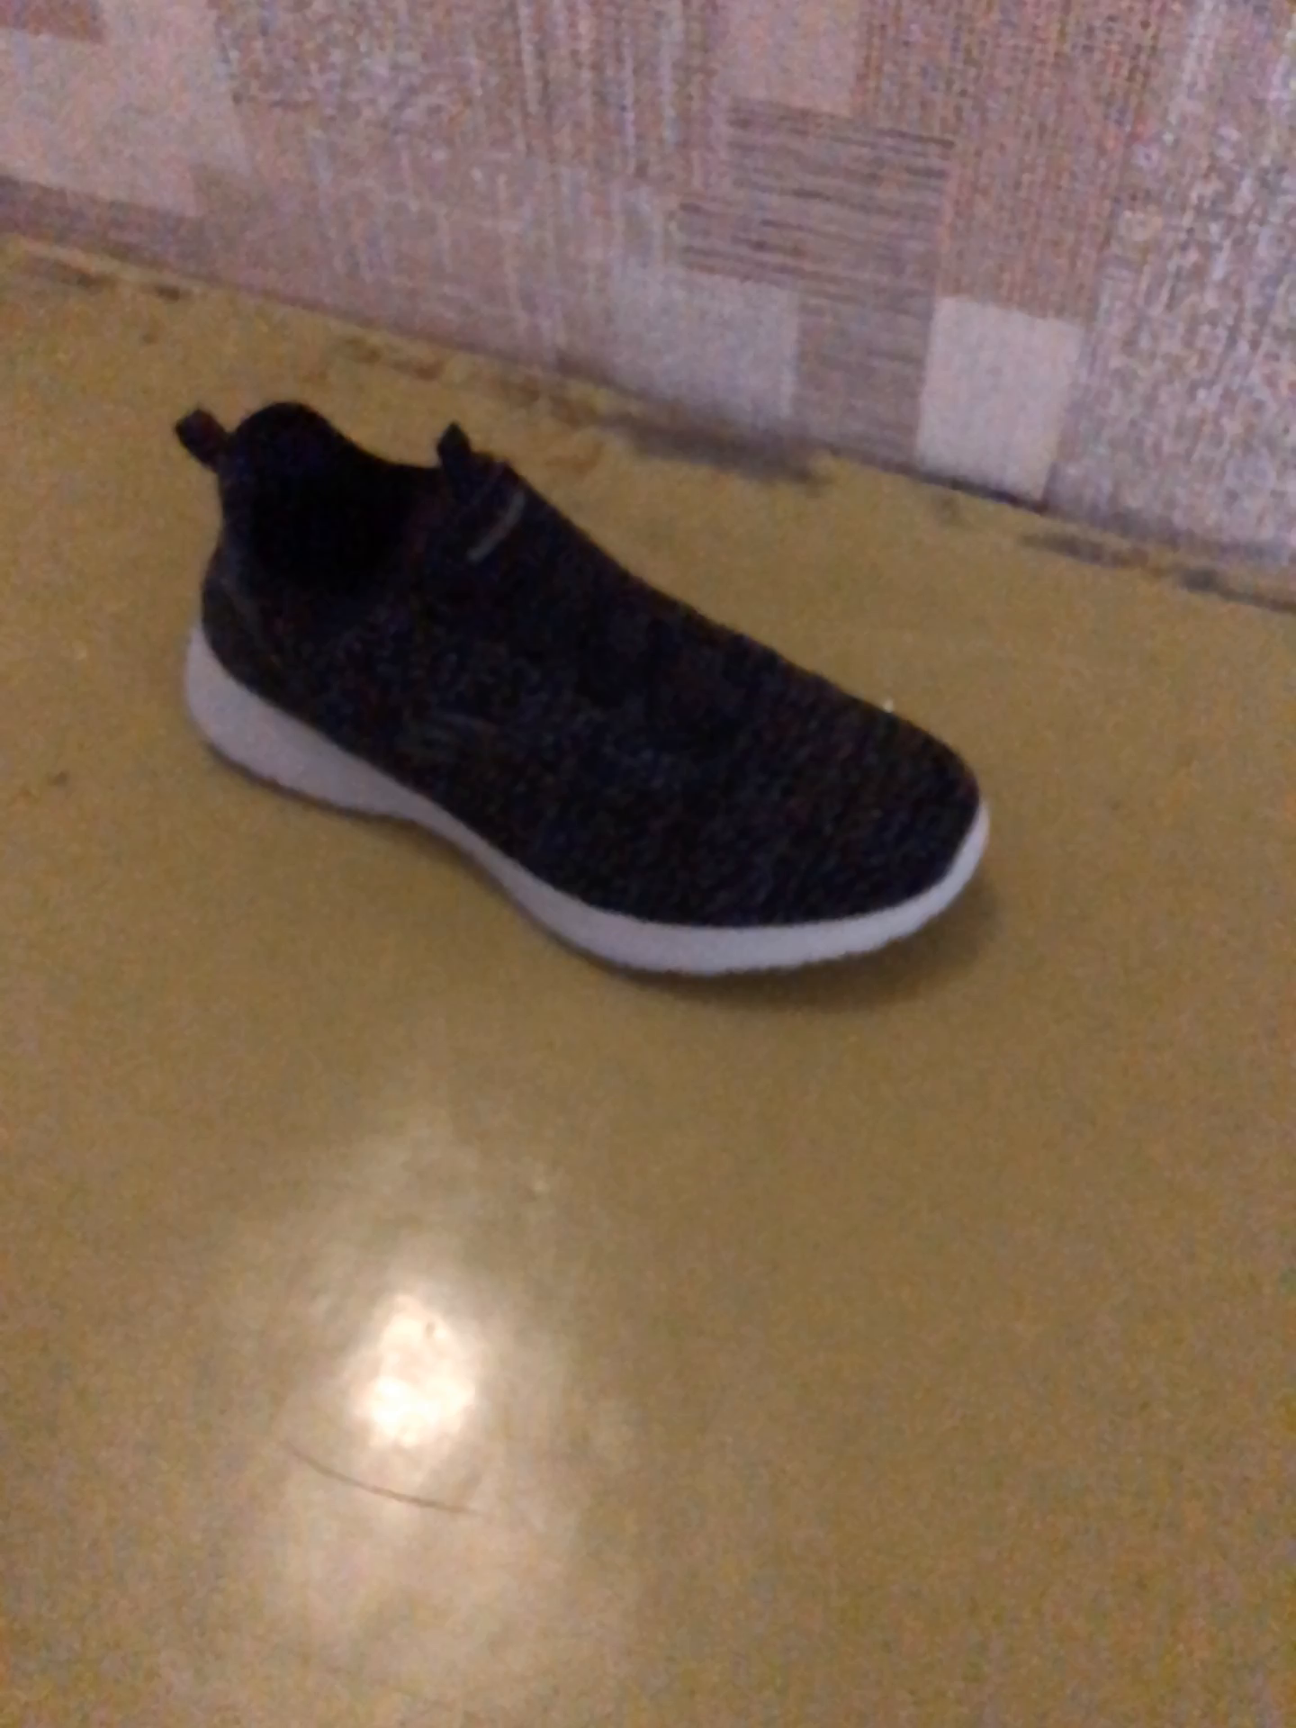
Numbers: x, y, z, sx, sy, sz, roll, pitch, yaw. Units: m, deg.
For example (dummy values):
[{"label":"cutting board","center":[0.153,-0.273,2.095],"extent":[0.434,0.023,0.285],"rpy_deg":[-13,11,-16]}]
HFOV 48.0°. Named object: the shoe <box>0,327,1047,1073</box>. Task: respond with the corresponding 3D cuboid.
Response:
[{"label":"shoe","center":[-0.045,-0.063,0.517],"extent":[0.320,0.130,0.120],"rpy_deg":[20,58,14]}]
